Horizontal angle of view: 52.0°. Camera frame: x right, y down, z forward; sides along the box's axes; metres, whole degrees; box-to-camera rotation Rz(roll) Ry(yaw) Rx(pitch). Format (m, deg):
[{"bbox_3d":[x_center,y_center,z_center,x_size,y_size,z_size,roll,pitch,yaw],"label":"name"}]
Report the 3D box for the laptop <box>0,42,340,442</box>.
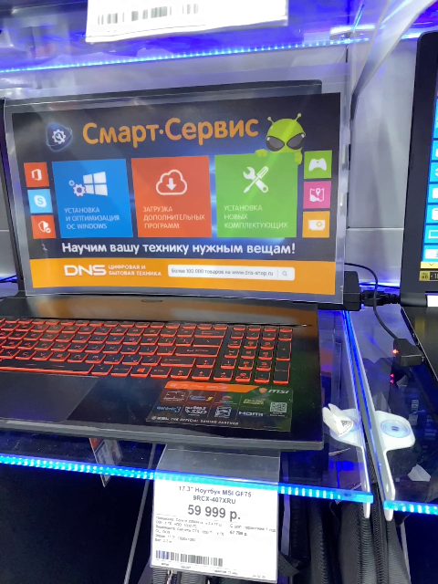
[{"bbox_3d":[-0.108,-0.067,0.430,0.404,0.237,0.288,1,21,11],"label":"laptop"}]
